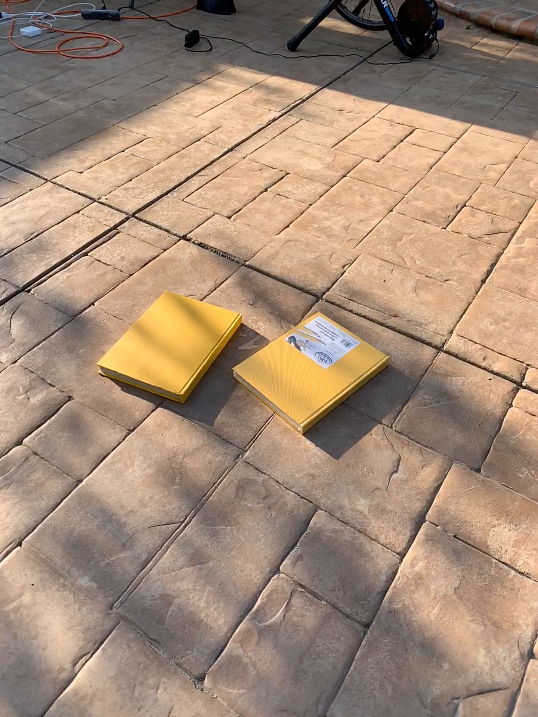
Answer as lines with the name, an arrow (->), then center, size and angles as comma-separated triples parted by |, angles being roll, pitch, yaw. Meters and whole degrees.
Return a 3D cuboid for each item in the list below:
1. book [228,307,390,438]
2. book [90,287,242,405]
book -> 0.088, 0.017, 1.196 | 0.273, 0.030, 0.221 | -36, 56, -27
book -> -0.225, -0.041, 1.249 | 0.220, 0.030, 0.289 | 18, 48, 16
